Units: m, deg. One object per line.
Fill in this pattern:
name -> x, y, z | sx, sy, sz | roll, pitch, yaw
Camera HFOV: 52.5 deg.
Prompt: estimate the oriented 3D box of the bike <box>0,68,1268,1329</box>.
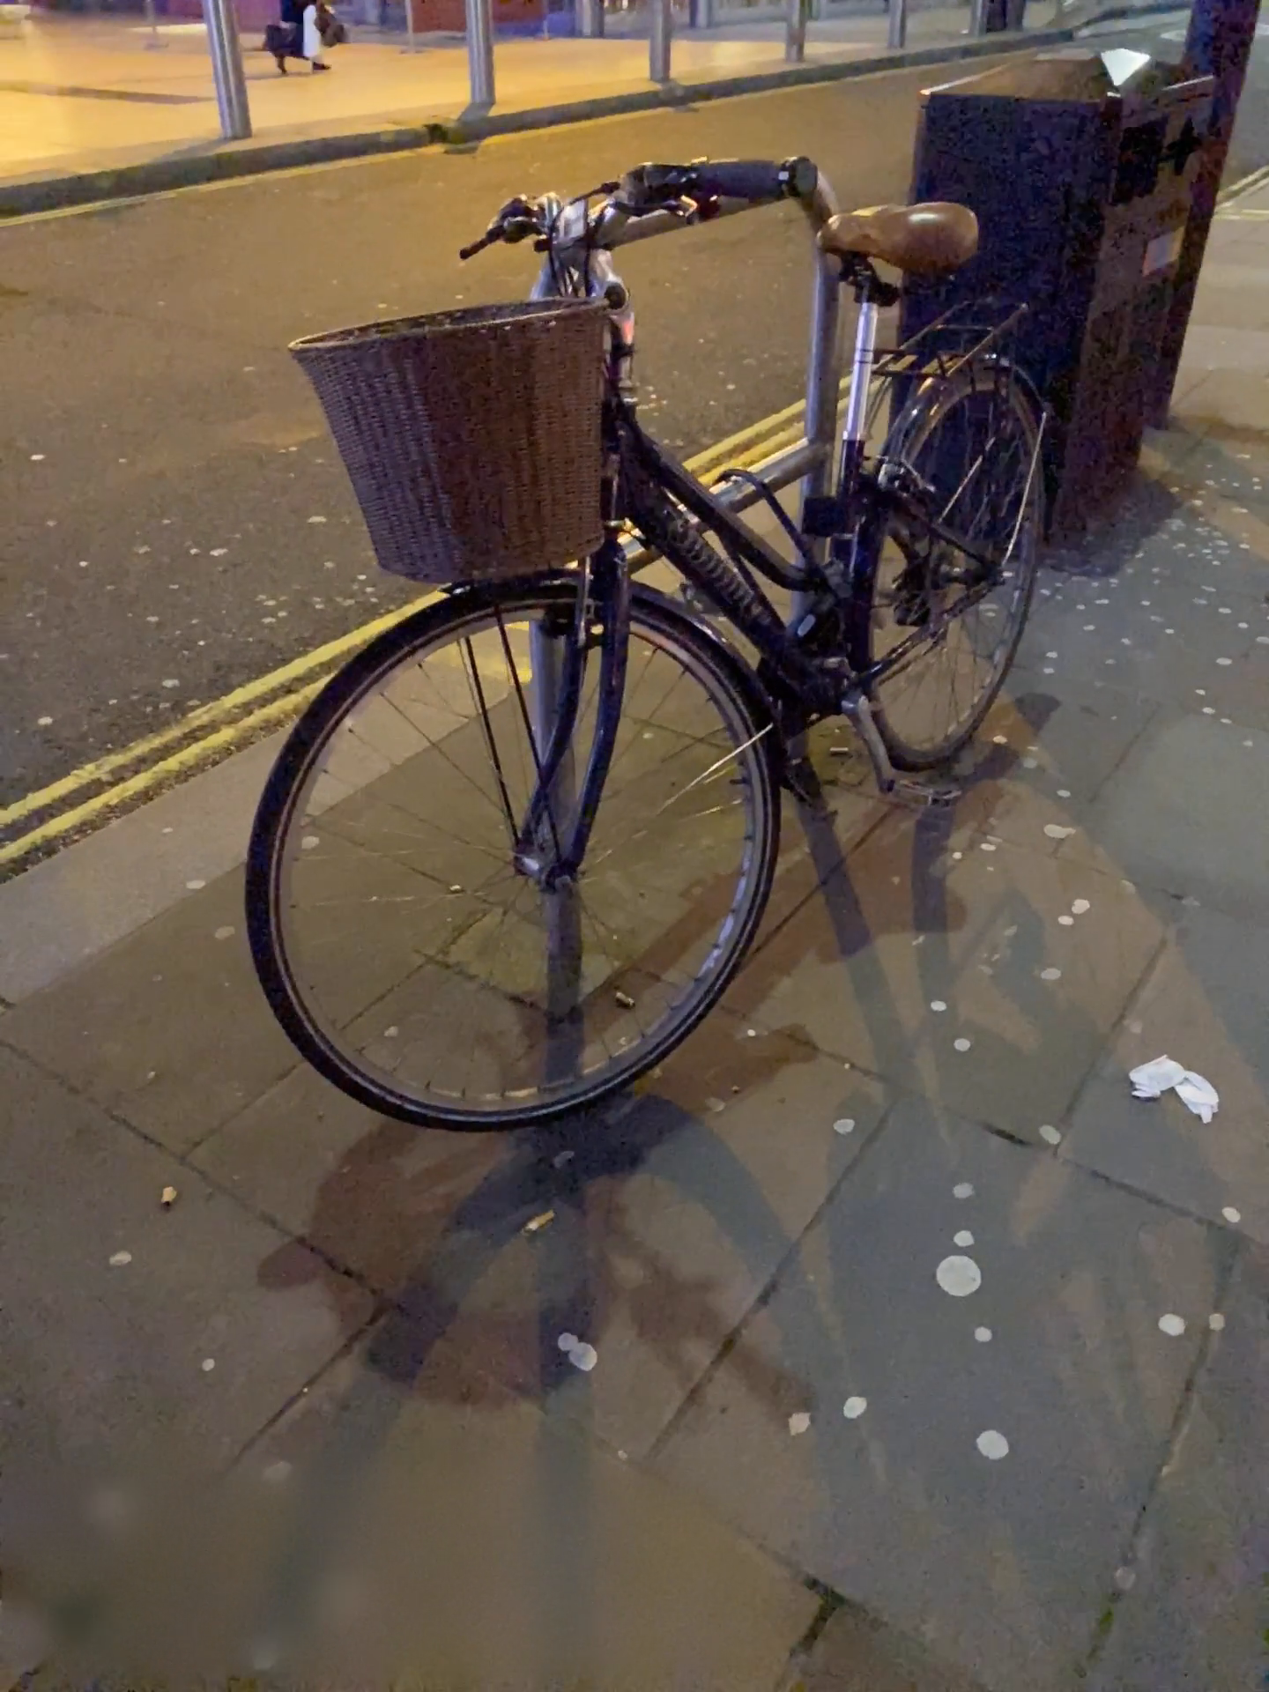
bike -> 0.149, -0.402, 1.864 | 0.661, 1.063, 1.716 | 27, 44, 33
